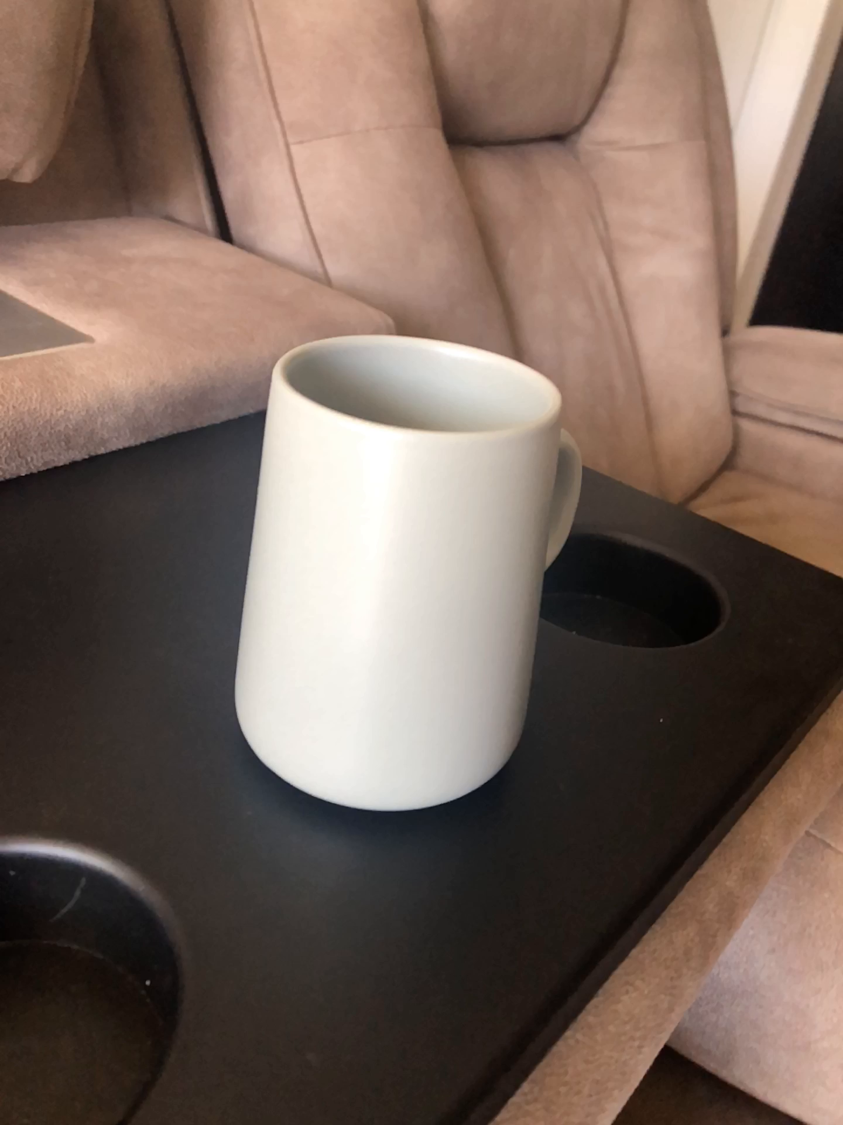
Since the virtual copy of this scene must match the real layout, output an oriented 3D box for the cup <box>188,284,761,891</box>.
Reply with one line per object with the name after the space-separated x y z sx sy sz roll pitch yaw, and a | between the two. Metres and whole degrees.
0.013 -0.004 0.284 0.086 0.121 0.137 33 38 33 | cup
